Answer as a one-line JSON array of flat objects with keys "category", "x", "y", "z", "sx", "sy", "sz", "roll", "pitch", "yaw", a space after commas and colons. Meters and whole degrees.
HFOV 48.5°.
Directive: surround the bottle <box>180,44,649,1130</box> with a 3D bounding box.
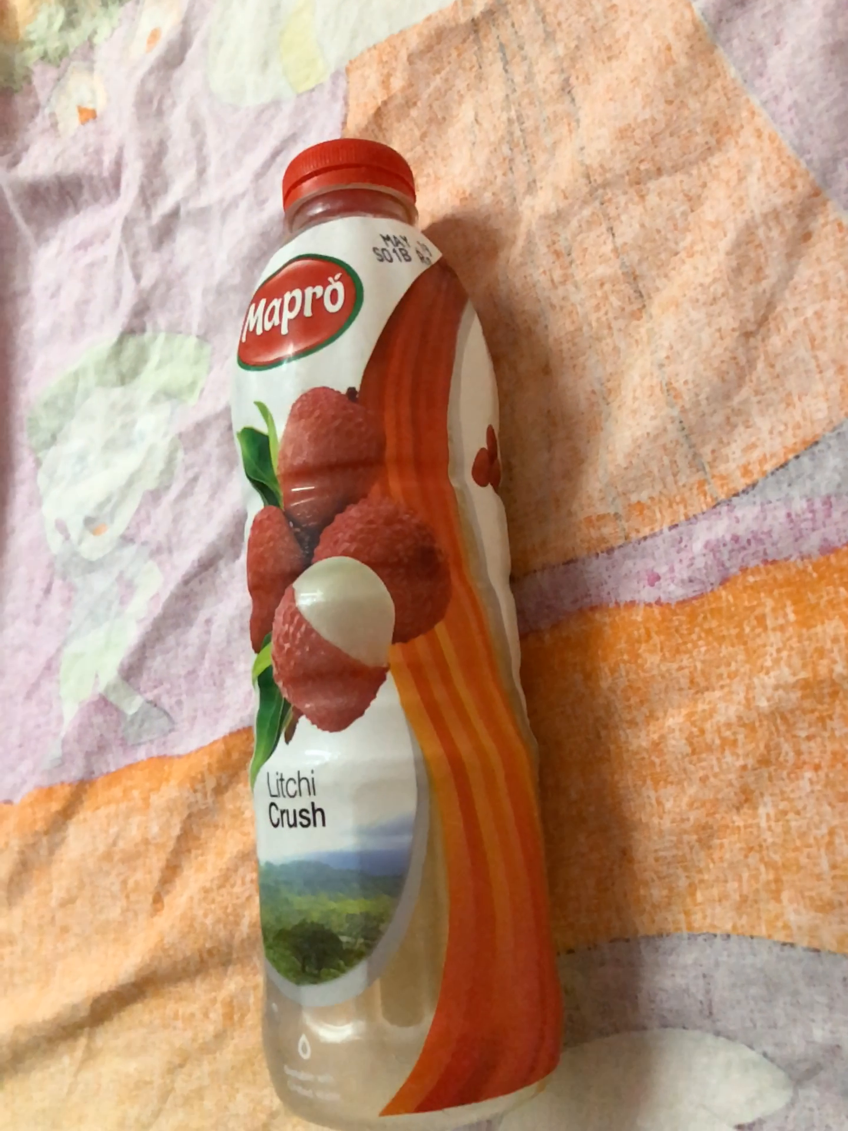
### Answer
[{"category": "bottle", "x": -0.007, "y": 0.012, "z": 0.256, "sx": 0.080, "sy": 0.070, "sz": 0.260, "roll": -12, "pitch": 78, "yaw": 37}]
